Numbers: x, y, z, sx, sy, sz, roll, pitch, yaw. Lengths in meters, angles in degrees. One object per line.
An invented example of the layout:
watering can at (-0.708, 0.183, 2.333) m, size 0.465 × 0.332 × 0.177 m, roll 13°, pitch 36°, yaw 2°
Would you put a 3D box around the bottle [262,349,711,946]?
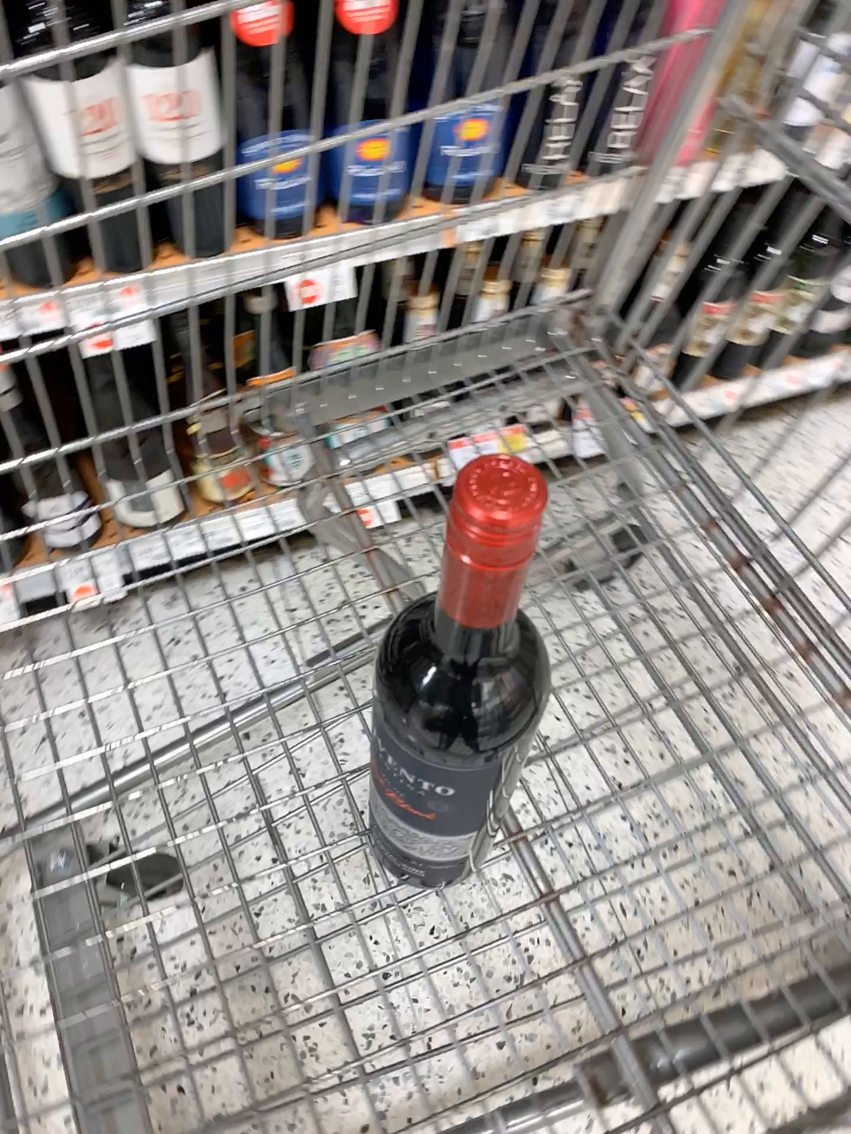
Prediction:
bottle at (0.011, 0.073, 0.412) m, size 0.100 × 0.337 × 0.101 m, roll 1°, pitch 57°, yaw -2°
